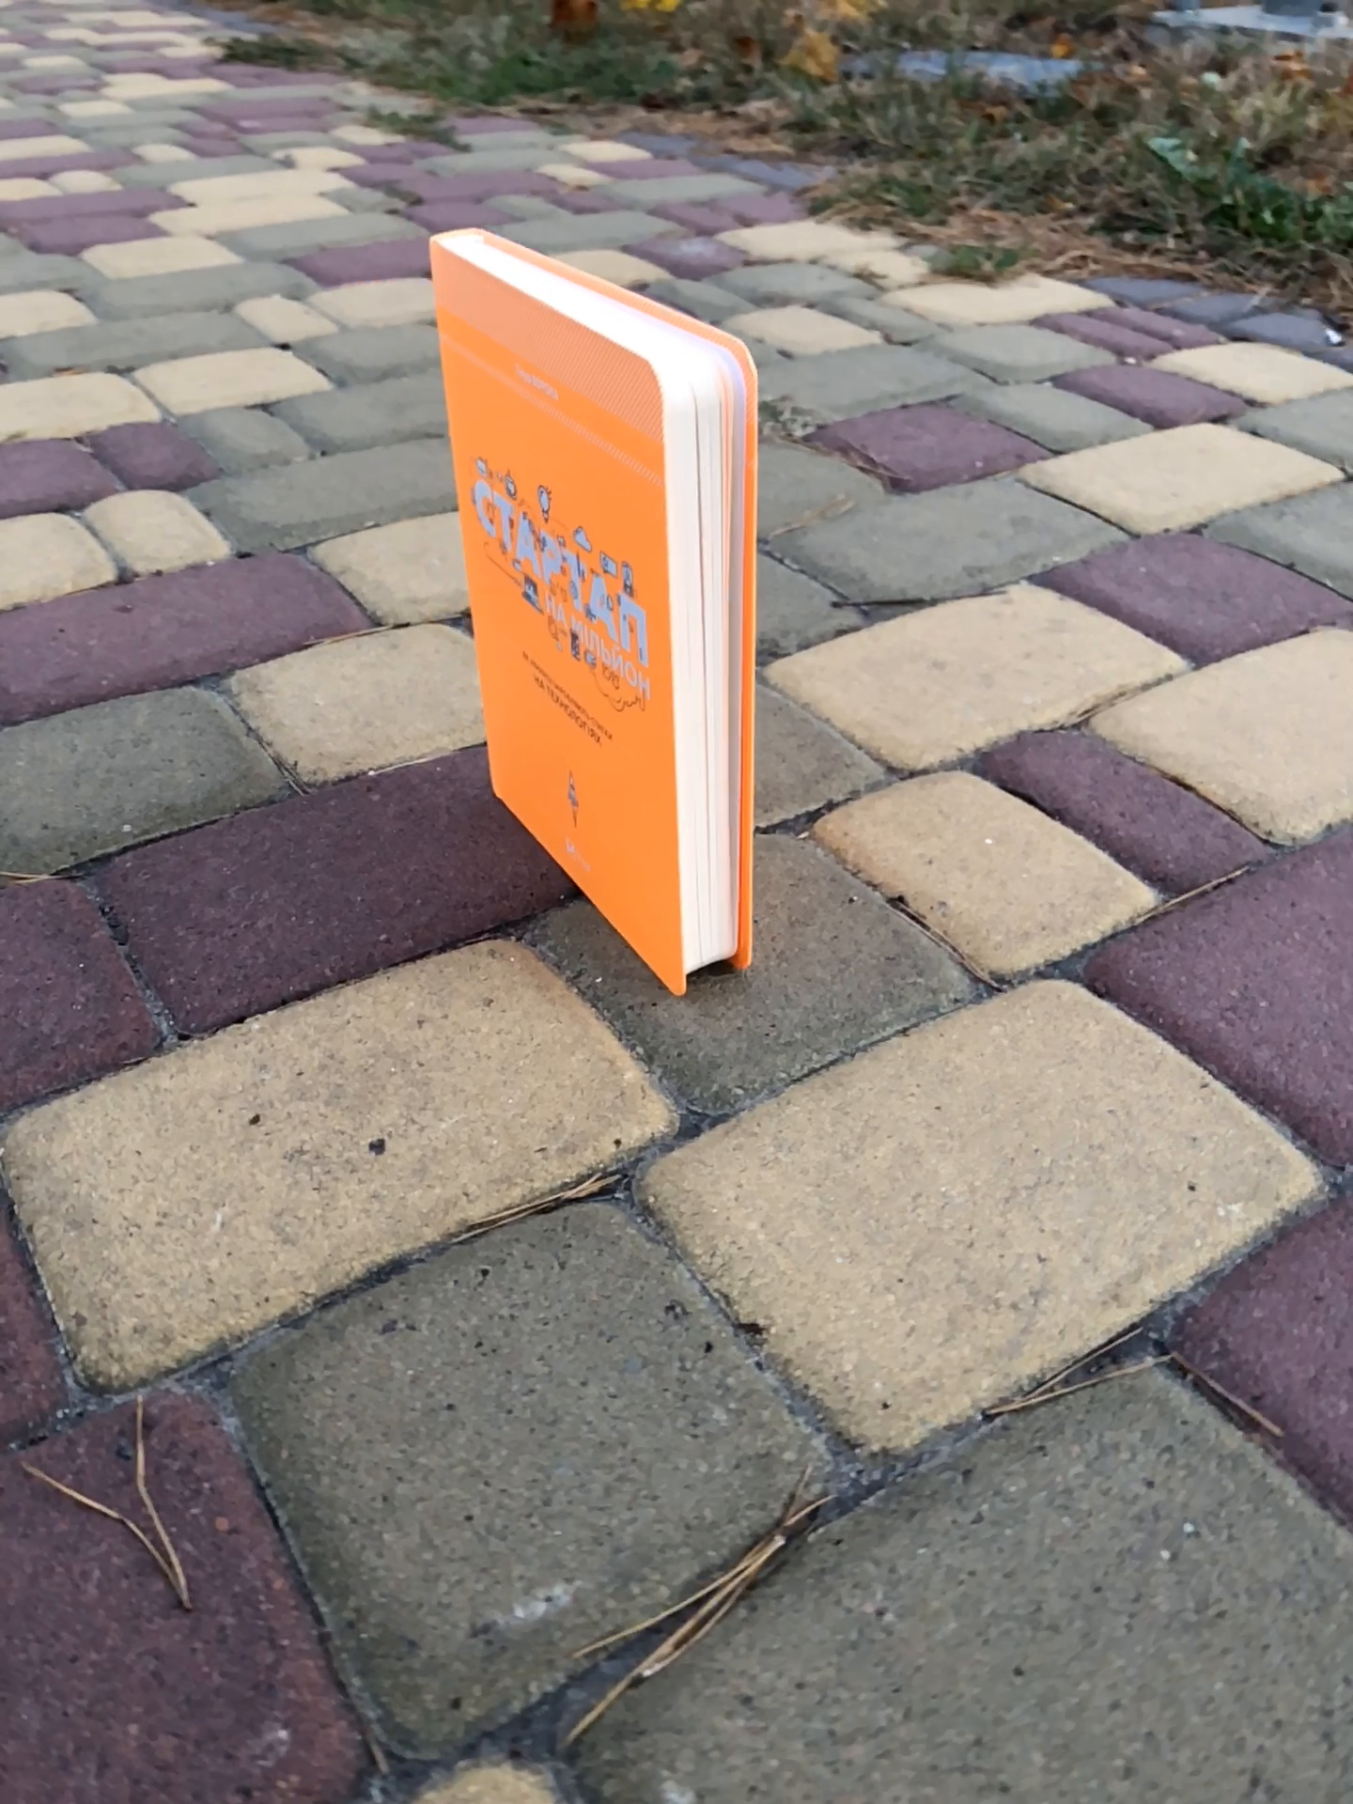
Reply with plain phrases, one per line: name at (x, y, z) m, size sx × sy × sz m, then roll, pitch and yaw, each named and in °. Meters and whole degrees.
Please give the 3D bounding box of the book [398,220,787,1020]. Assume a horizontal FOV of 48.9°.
book at (-0.028, -0.092, 0.476) m, size 0.040 × 0.200 × 0.165 m, roll -19°, pitch 40°, yaw -23°
